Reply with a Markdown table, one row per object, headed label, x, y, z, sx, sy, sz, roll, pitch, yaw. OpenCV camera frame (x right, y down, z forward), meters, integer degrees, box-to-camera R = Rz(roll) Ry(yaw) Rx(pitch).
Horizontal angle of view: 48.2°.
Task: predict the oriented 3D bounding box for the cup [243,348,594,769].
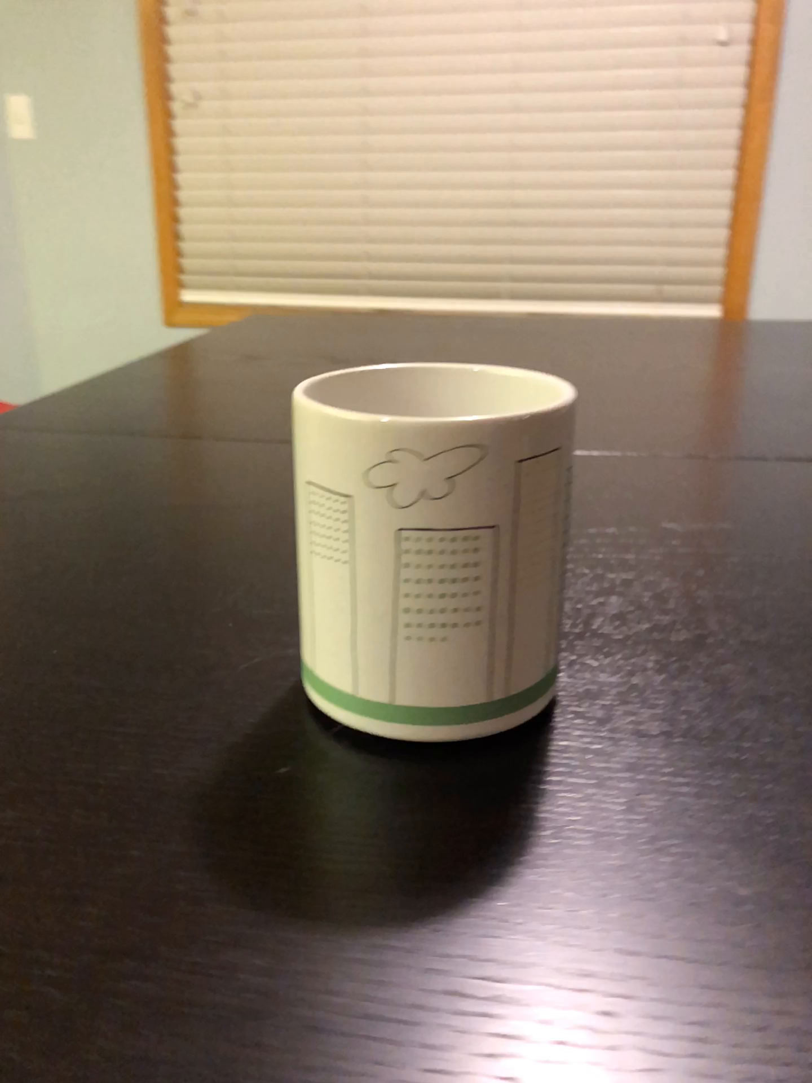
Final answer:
| label | x | y | z | sx | sy | sz | roll | pitch | yaw |
| --- | --- | --- | --- | --- | --- | --- | --- | --- | --- |
| cup | 0.008 | -0.005 | 0.310 | 0.090 | 0.100 | 0.131 | 2 | 20 | 4 |
